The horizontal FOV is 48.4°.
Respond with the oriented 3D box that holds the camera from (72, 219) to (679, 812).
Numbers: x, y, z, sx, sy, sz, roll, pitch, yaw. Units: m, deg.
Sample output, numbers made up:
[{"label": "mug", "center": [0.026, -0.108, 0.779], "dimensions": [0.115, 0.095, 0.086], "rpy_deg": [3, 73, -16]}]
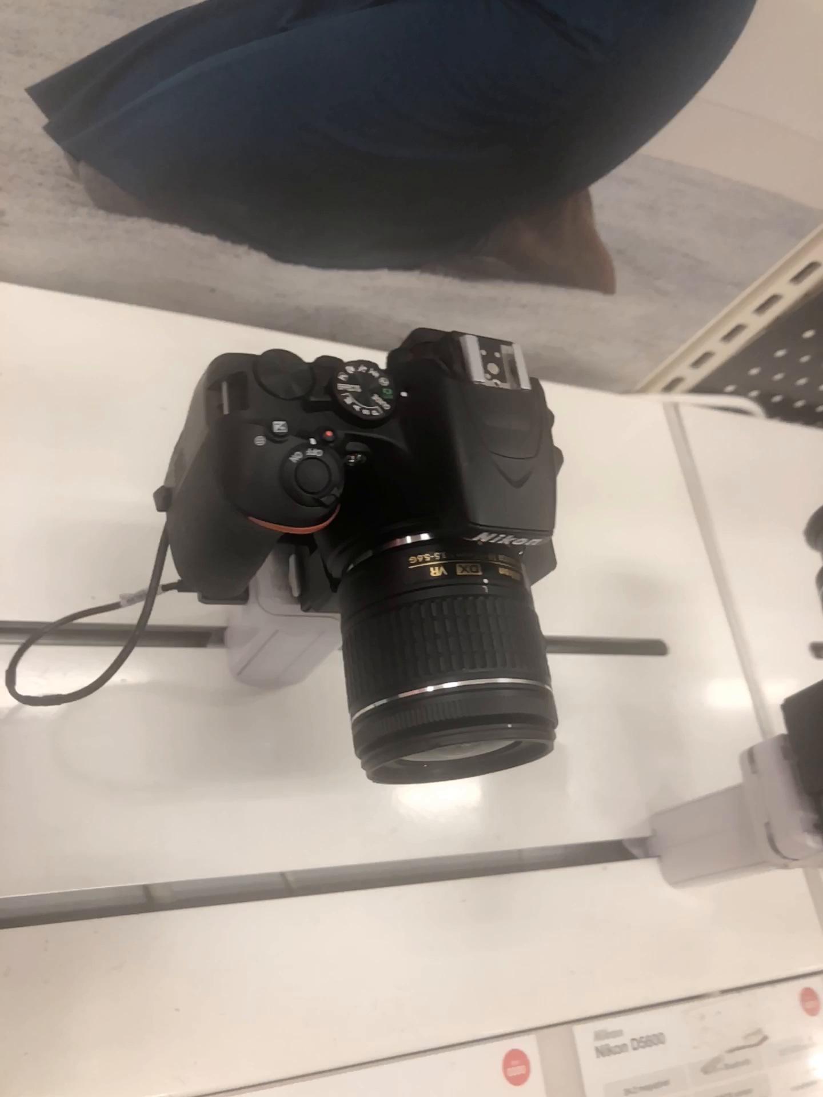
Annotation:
[{"label": "camera", "center": [-0.020, -0.001, 0.273], "dimensions": [0.141, 0.090, 0.130], "rpy_deg": [4, 64, -26]}]
